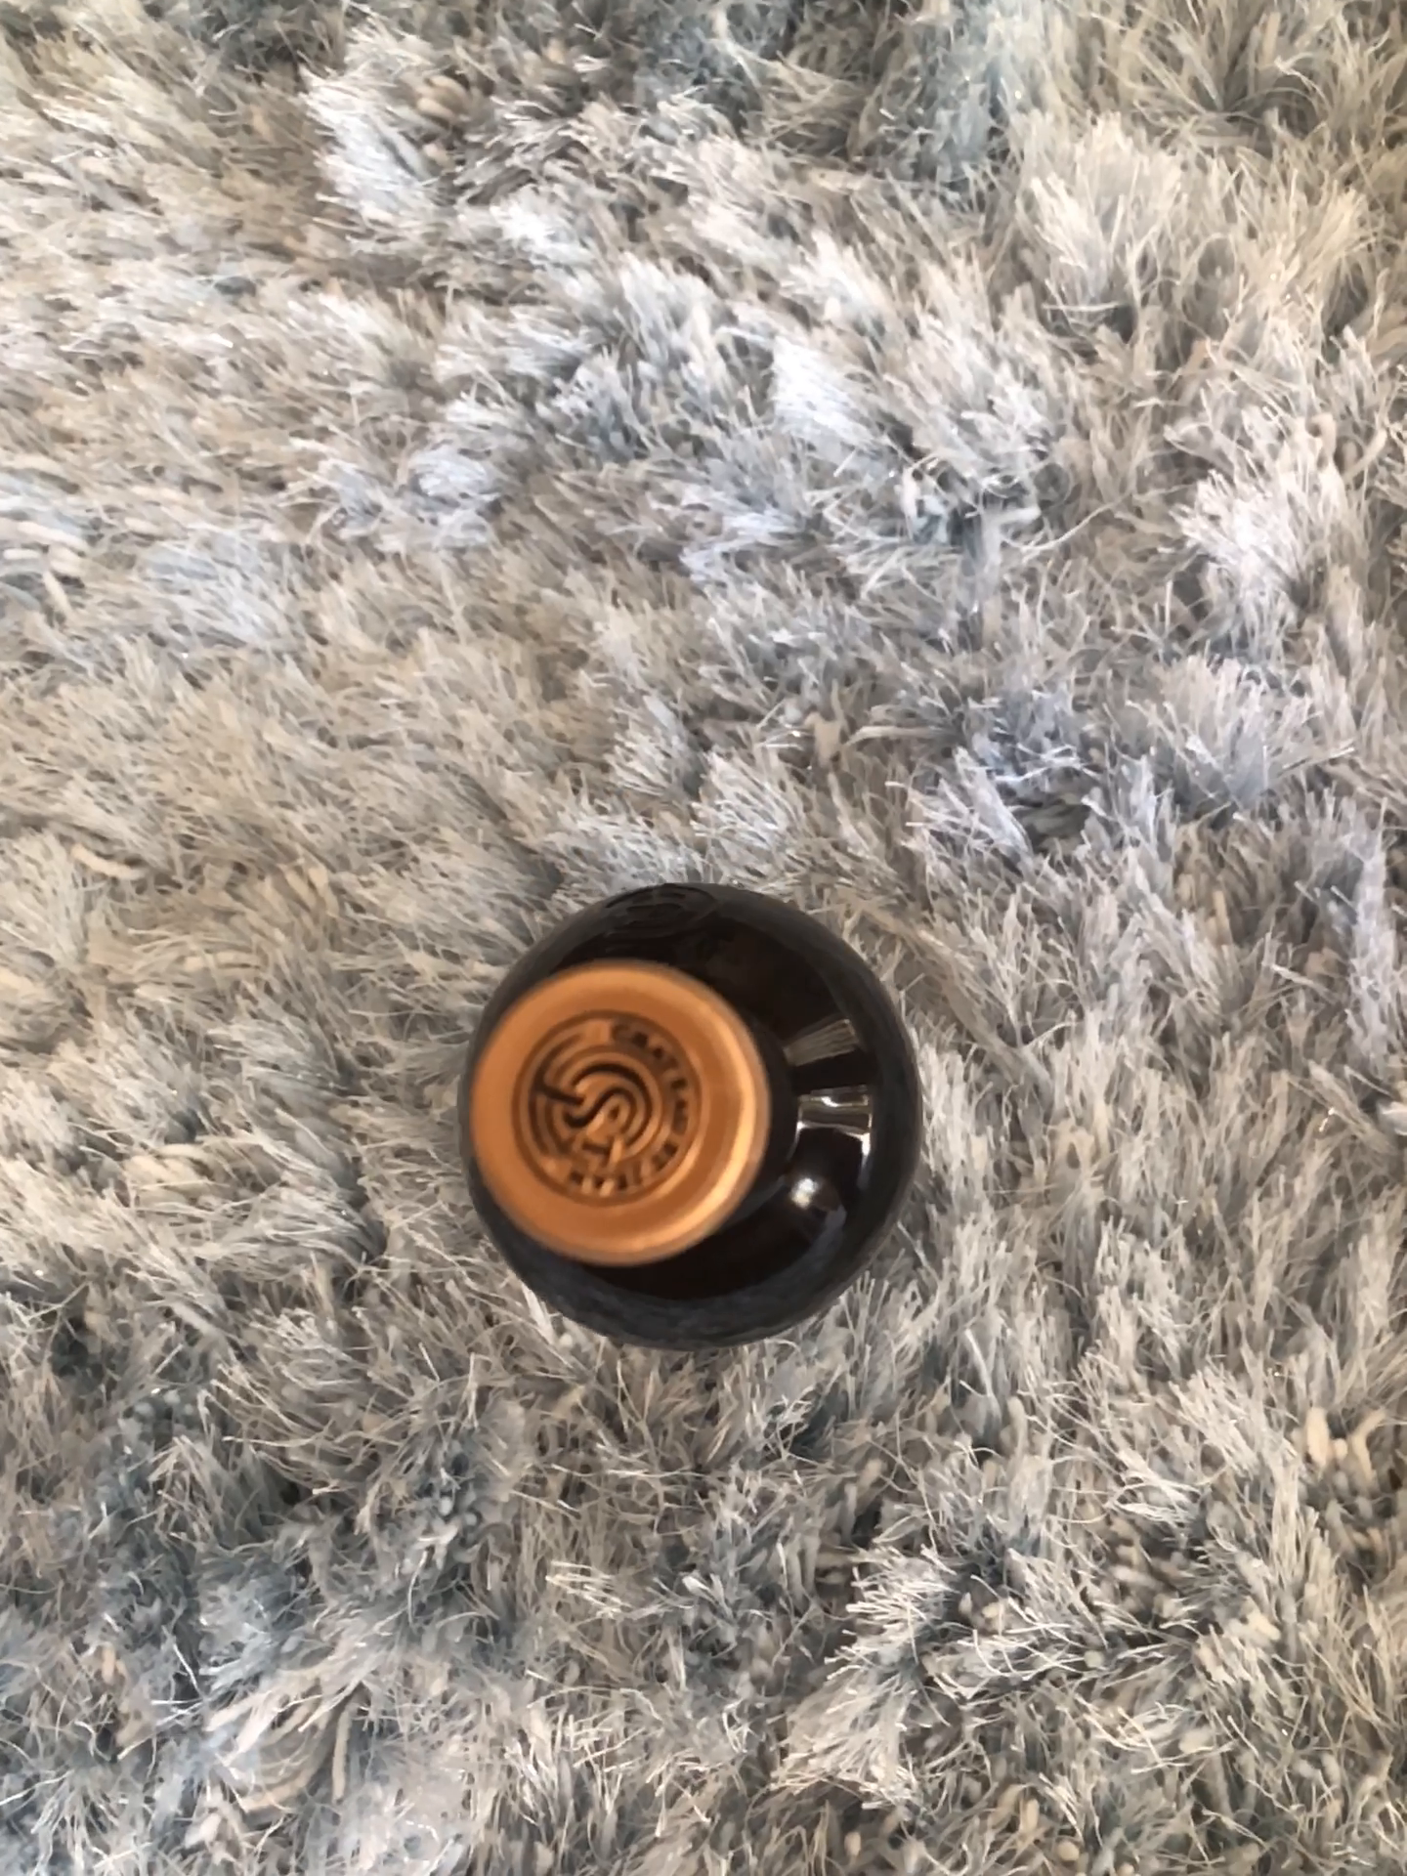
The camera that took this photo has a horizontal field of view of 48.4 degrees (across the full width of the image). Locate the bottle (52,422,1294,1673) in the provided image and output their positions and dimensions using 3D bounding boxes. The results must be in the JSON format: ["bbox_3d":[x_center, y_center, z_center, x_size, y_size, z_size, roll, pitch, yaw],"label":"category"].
[{"bbox_3d":[0.005,0.033,0.292,0.090,0.300,0.090,-1,80,4],"label":"bottle"}]
